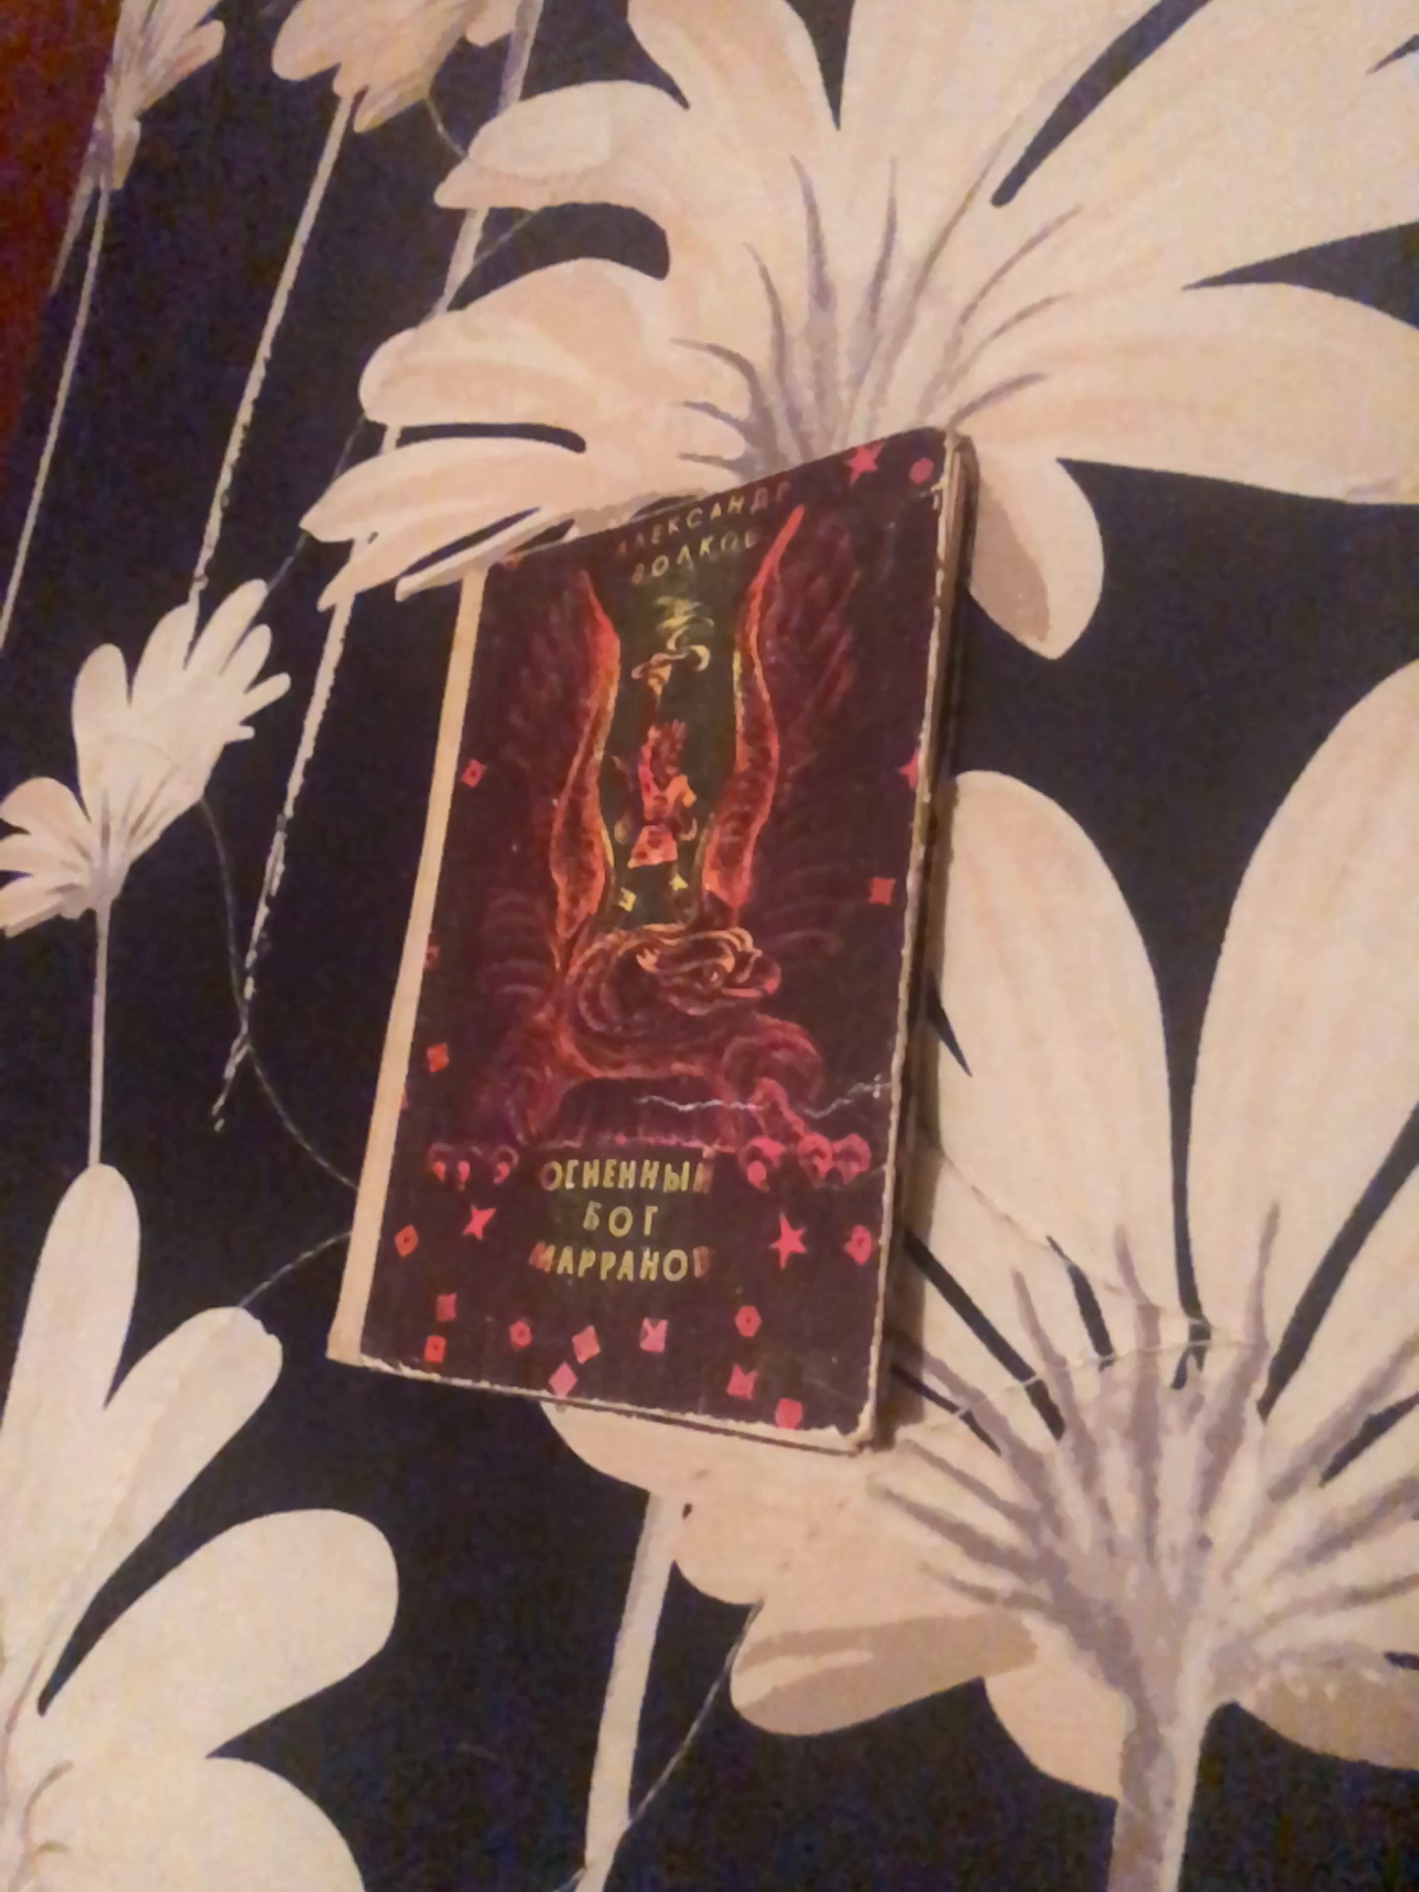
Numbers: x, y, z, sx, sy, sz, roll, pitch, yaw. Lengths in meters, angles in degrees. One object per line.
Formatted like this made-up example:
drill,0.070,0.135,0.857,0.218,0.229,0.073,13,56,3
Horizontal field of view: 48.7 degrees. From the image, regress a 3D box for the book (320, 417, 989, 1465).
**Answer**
book,-0.016,-0.002,0.360,0.153,0.019,0.211,-4,74,37
